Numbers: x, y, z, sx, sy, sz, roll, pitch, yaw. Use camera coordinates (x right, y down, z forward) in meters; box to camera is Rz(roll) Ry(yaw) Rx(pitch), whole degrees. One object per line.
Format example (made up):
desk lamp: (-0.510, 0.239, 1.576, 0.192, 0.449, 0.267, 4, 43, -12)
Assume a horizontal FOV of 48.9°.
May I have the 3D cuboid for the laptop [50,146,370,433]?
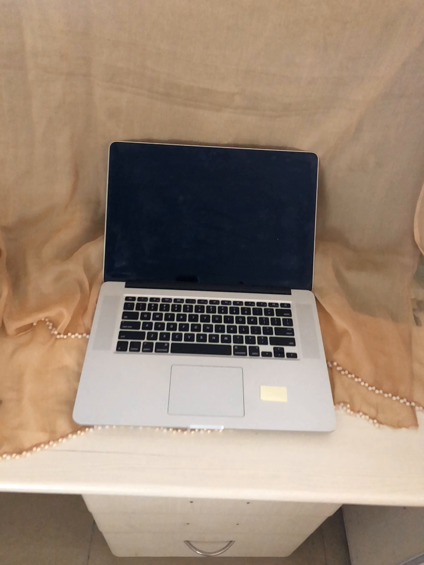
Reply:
laptop: (-0.001, -0.012, 0.671, 0.336, 0.135, 0.408, 3, 50, -2)
